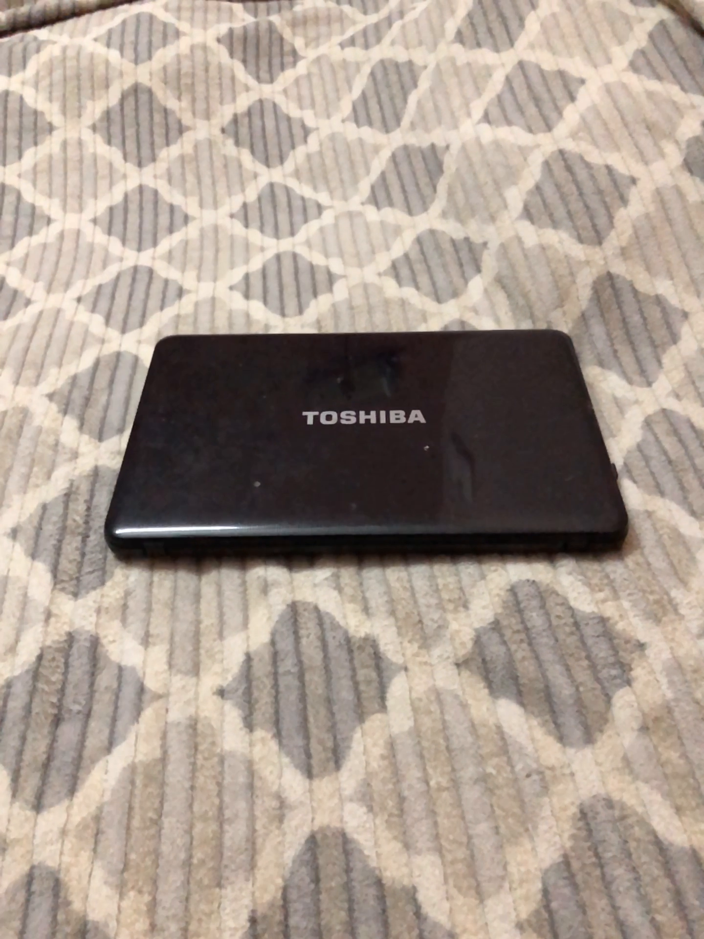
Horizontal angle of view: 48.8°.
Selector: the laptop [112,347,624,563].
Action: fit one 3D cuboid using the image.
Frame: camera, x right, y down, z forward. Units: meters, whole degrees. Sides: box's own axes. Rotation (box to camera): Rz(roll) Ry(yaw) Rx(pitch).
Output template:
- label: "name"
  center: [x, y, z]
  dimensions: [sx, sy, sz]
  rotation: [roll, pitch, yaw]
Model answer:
- label: "laptop"
  center: [0.009, -0.024, 0.668]
  dimensions: [0.375, 0.023, 0.249]
  rotation: [-1, 43, 1]
